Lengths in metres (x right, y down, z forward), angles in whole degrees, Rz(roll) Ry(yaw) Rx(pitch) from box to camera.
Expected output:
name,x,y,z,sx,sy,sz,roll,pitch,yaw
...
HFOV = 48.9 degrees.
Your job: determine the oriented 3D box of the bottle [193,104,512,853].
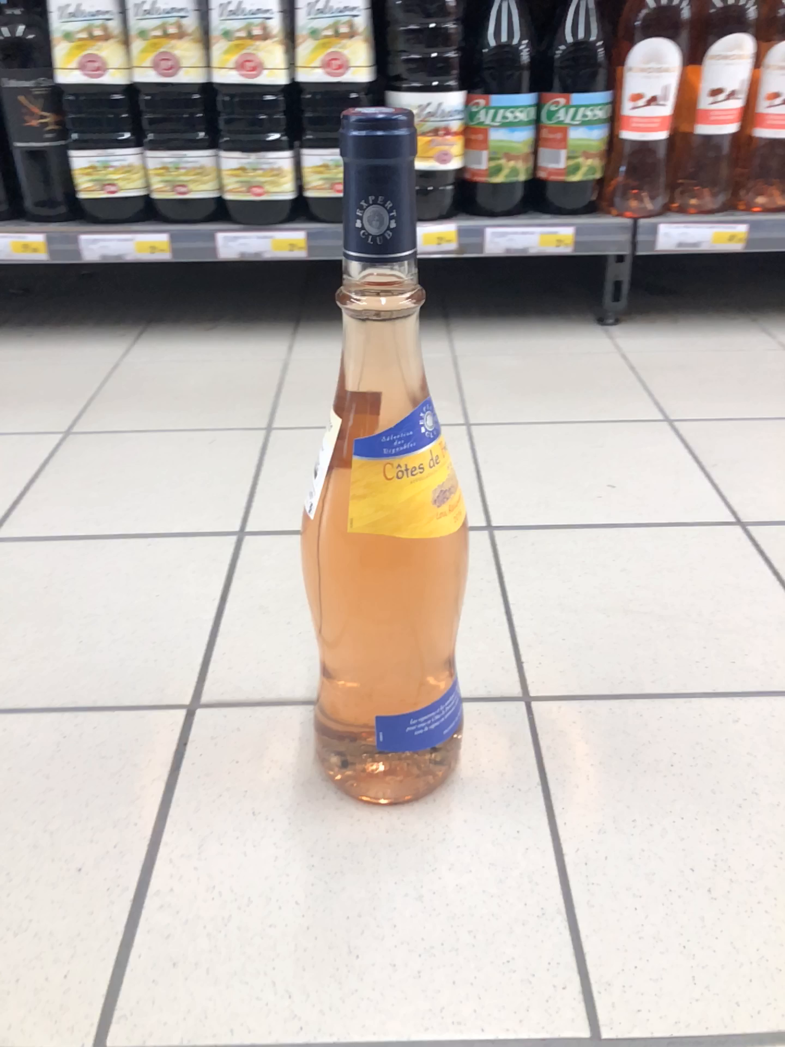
name,x,y,z,sx,sy,sz,roll,pitch,yaw
bottle,-0.009,-0.009,0.390,0.080,0.318,0.091,15,33,26
